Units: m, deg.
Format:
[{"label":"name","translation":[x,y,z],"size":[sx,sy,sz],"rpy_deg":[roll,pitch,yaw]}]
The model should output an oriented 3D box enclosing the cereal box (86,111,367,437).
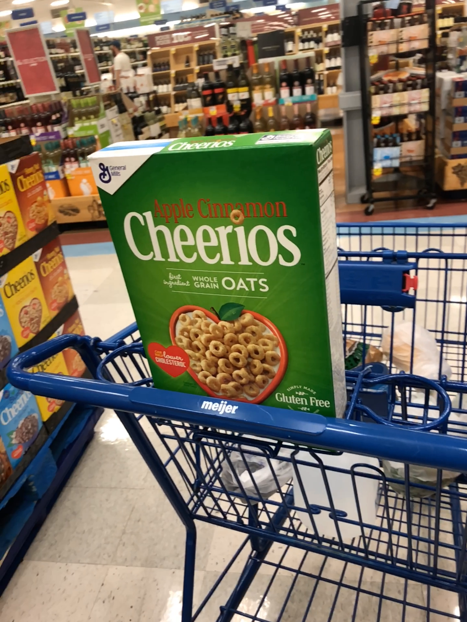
[{"label":"cereal box","translation":[0.005,-0.023,0.462],"size":[0.210,0.269,0.050],"rpy_deg":[3,30,23]}]
